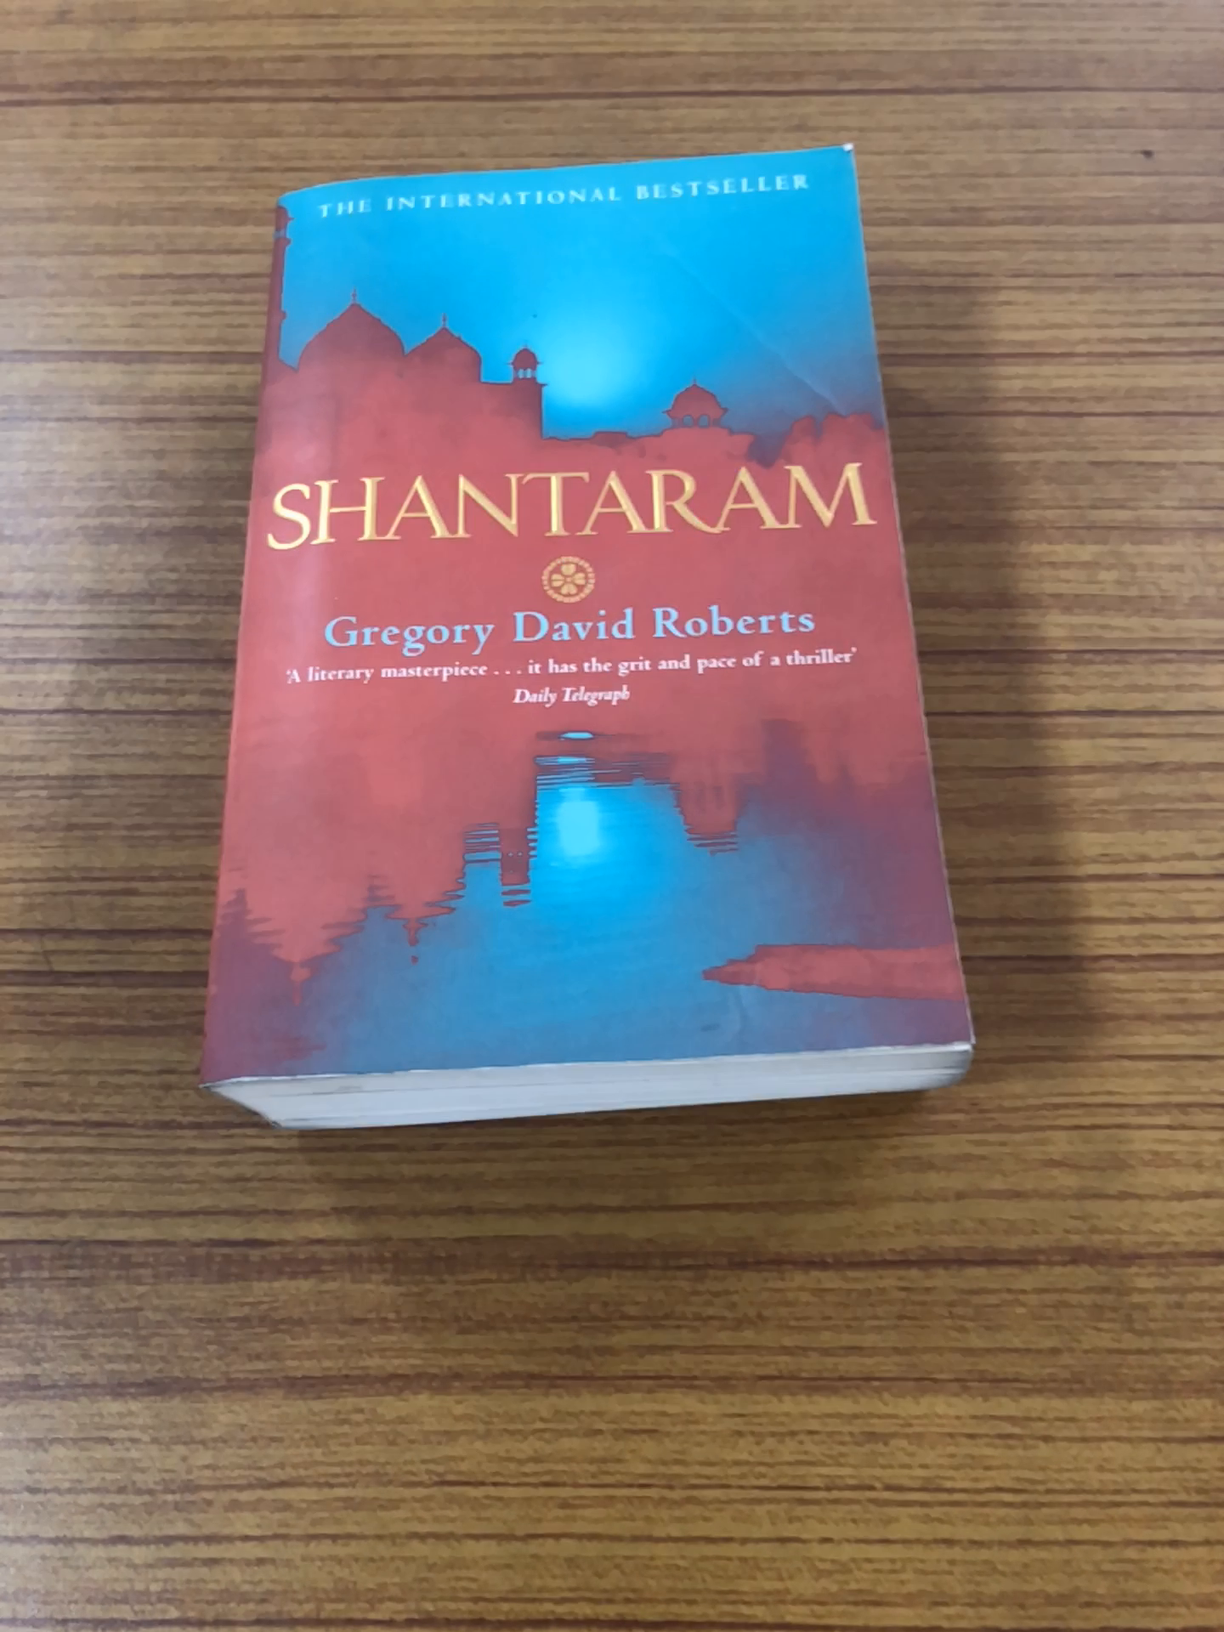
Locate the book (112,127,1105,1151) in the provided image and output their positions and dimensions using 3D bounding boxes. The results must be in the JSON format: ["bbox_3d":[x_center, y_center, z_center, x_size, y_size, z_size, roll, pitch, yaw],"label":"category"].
[{"bbox_3d":[-0.005,-0.039,0.267,0.150,0.050,0.190,-3,67,0],"label":"book"}]
